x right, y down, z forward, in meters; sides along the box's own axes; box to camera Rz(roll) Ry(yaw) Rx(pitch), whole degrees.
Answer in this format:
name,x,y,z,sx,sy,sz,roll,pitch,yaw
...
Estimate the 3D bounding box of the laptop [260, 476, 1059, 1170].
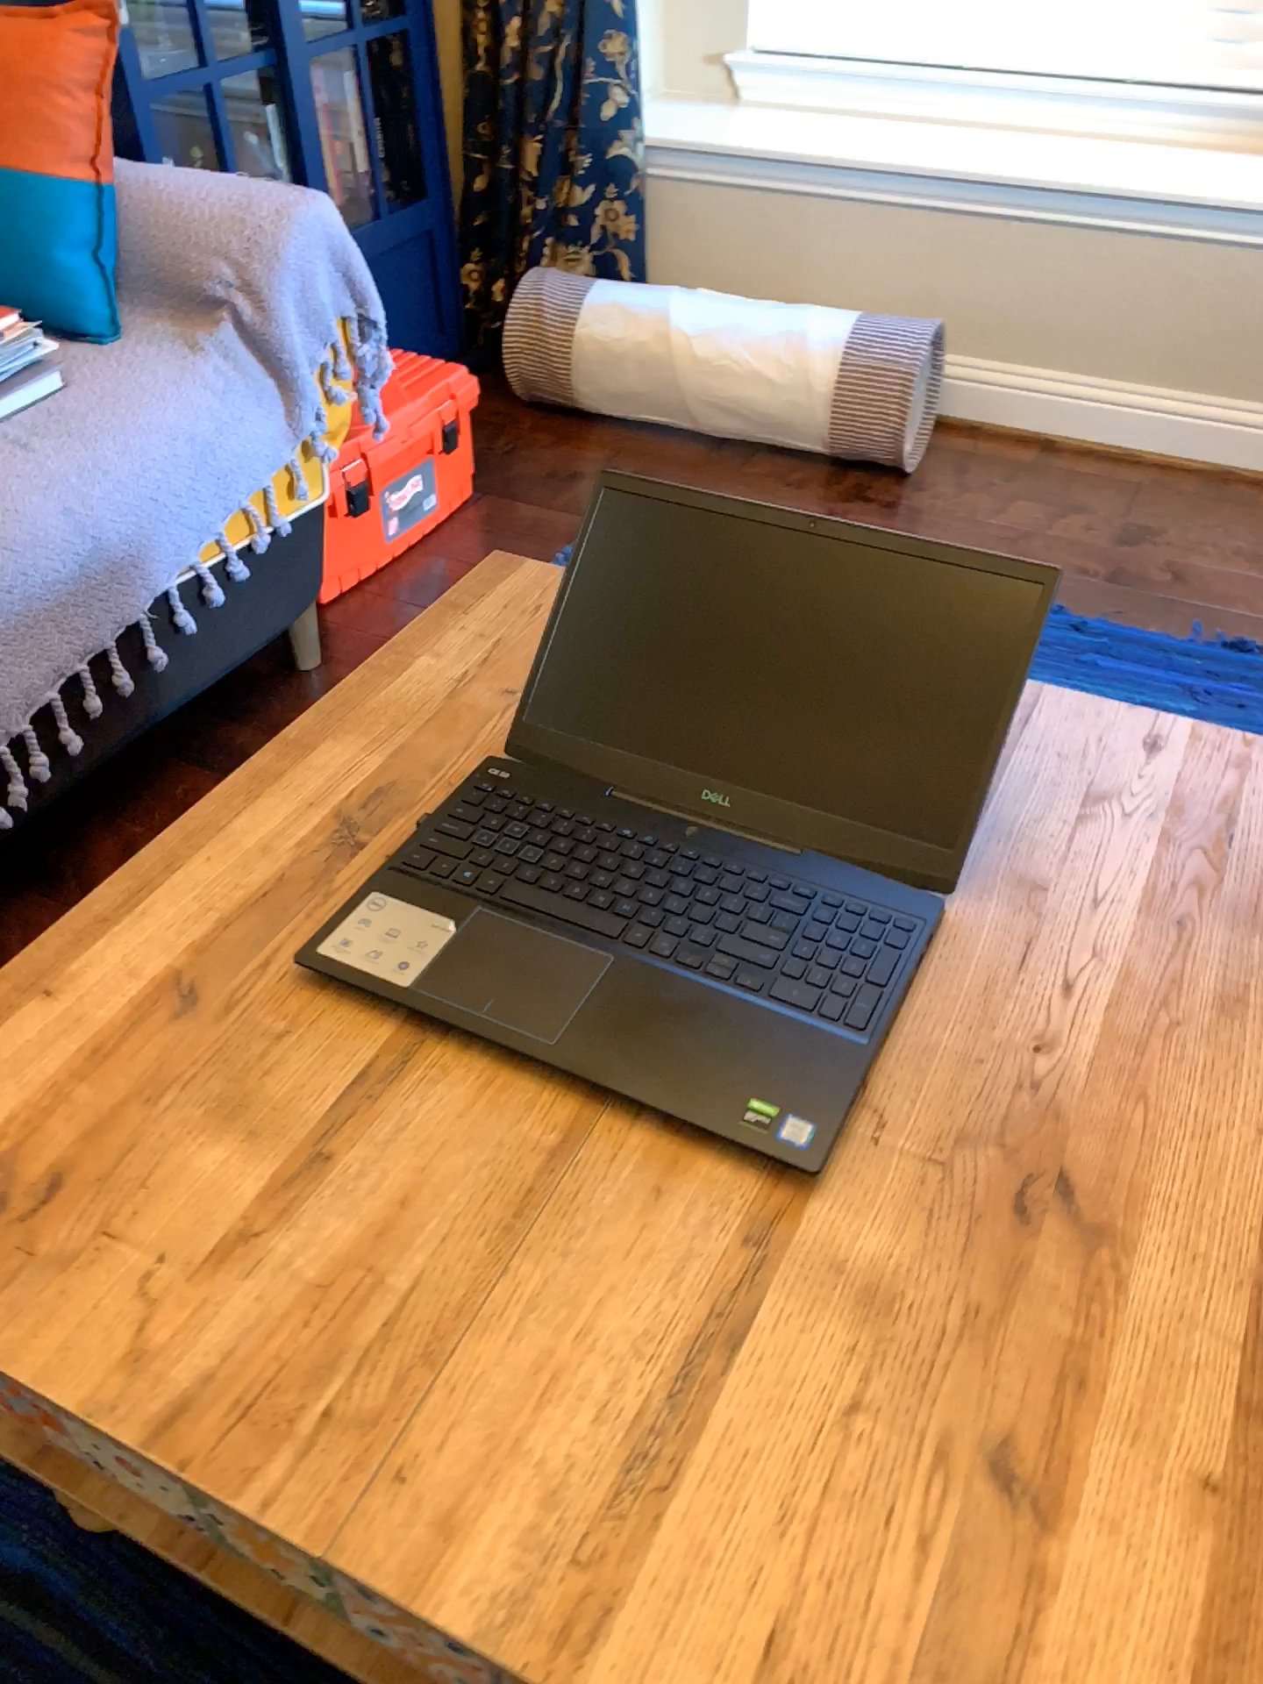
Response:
name,x,y,z,sx,sy,sz,roll,pitch,yaw
laptop,0.042,-0.054,0.853,0.346,0.156,0.419,18,44,21
